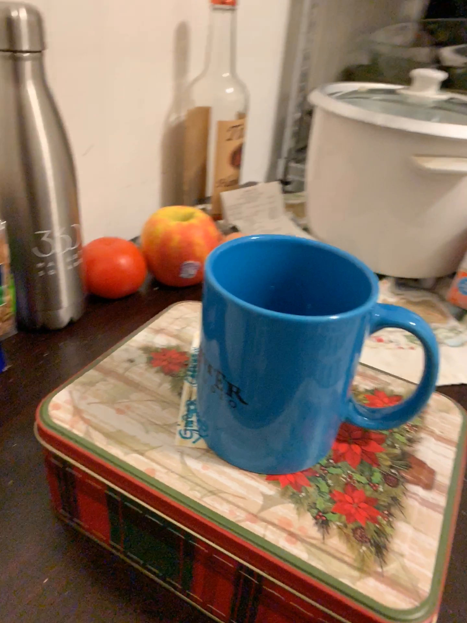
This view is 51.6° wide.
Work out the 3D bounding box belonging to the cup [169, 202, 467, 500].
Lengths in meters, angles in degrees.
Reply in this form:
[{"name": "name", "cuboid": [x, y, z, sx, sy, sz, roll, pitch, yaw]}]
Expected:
[{"name": "cup", "cuboid": [0.042, 0.016, 0.246, 0.130, 0.099, 0.091, 8, 33, 2]}]
